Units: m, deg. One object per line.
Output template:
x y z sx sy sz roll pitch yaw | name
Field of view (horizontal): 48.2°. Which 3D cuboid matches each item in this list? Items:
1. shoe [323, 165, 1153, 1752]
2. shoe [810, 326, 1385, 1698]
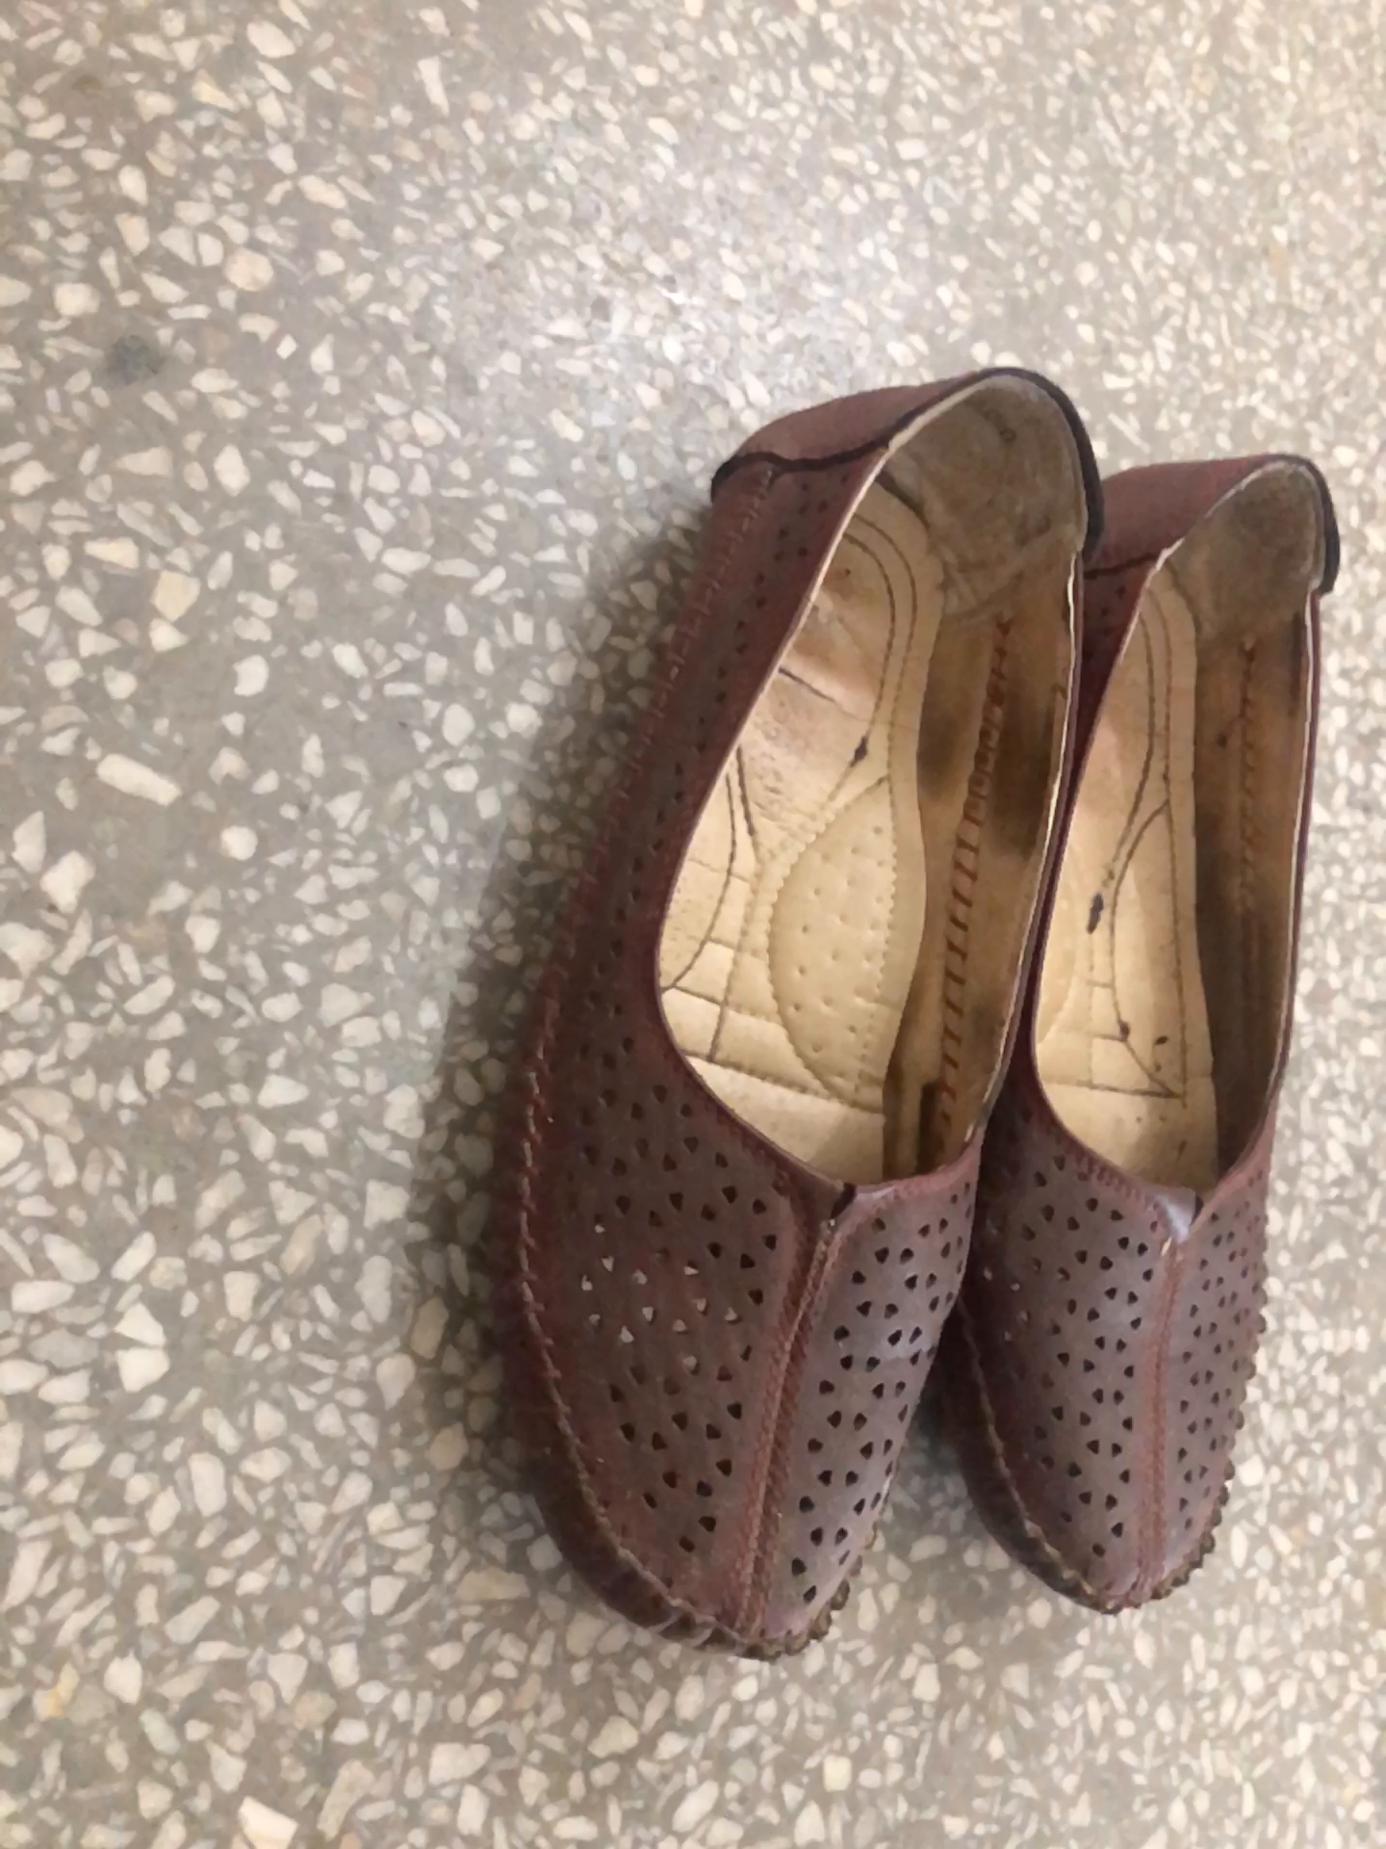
0.013 0.005 0.275 0.088 0.080 0.236 17 71 -26 | shoe
0.087 0.017 0.314 0.095 0.080 0.231 9 75 -28 | shoe
